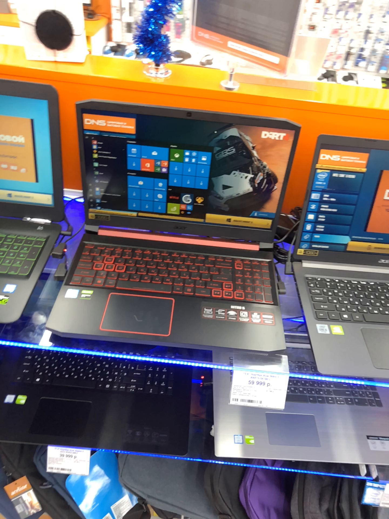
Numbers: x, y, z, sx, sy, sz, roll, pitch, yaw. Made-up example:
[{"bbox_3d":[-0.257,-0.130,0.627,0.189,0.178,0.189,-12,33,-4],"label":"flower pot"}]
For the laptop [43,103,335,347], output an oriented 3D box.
[{"bbox_3d":[-0.010,-0.057,0.647,0.329,0.231,0.252,6,40,-2],"label":"laptop"}]
